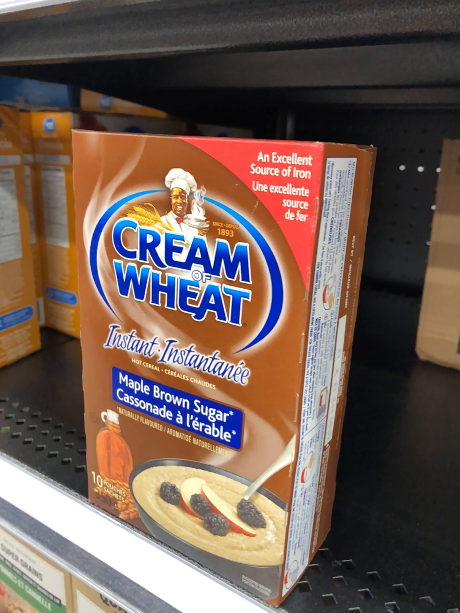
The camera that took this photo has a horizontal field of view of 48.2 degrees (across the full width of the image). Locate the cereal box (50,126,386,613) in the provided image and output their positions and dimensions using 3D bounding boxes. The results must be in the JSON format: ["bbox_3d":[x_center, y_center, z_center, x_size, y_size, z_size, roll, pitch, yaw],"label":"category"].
[{"bbox_3d":[-0.011,0.026,0.248,0.130,0.209,0.060,13,21,31],"label":"cereal box"}]
